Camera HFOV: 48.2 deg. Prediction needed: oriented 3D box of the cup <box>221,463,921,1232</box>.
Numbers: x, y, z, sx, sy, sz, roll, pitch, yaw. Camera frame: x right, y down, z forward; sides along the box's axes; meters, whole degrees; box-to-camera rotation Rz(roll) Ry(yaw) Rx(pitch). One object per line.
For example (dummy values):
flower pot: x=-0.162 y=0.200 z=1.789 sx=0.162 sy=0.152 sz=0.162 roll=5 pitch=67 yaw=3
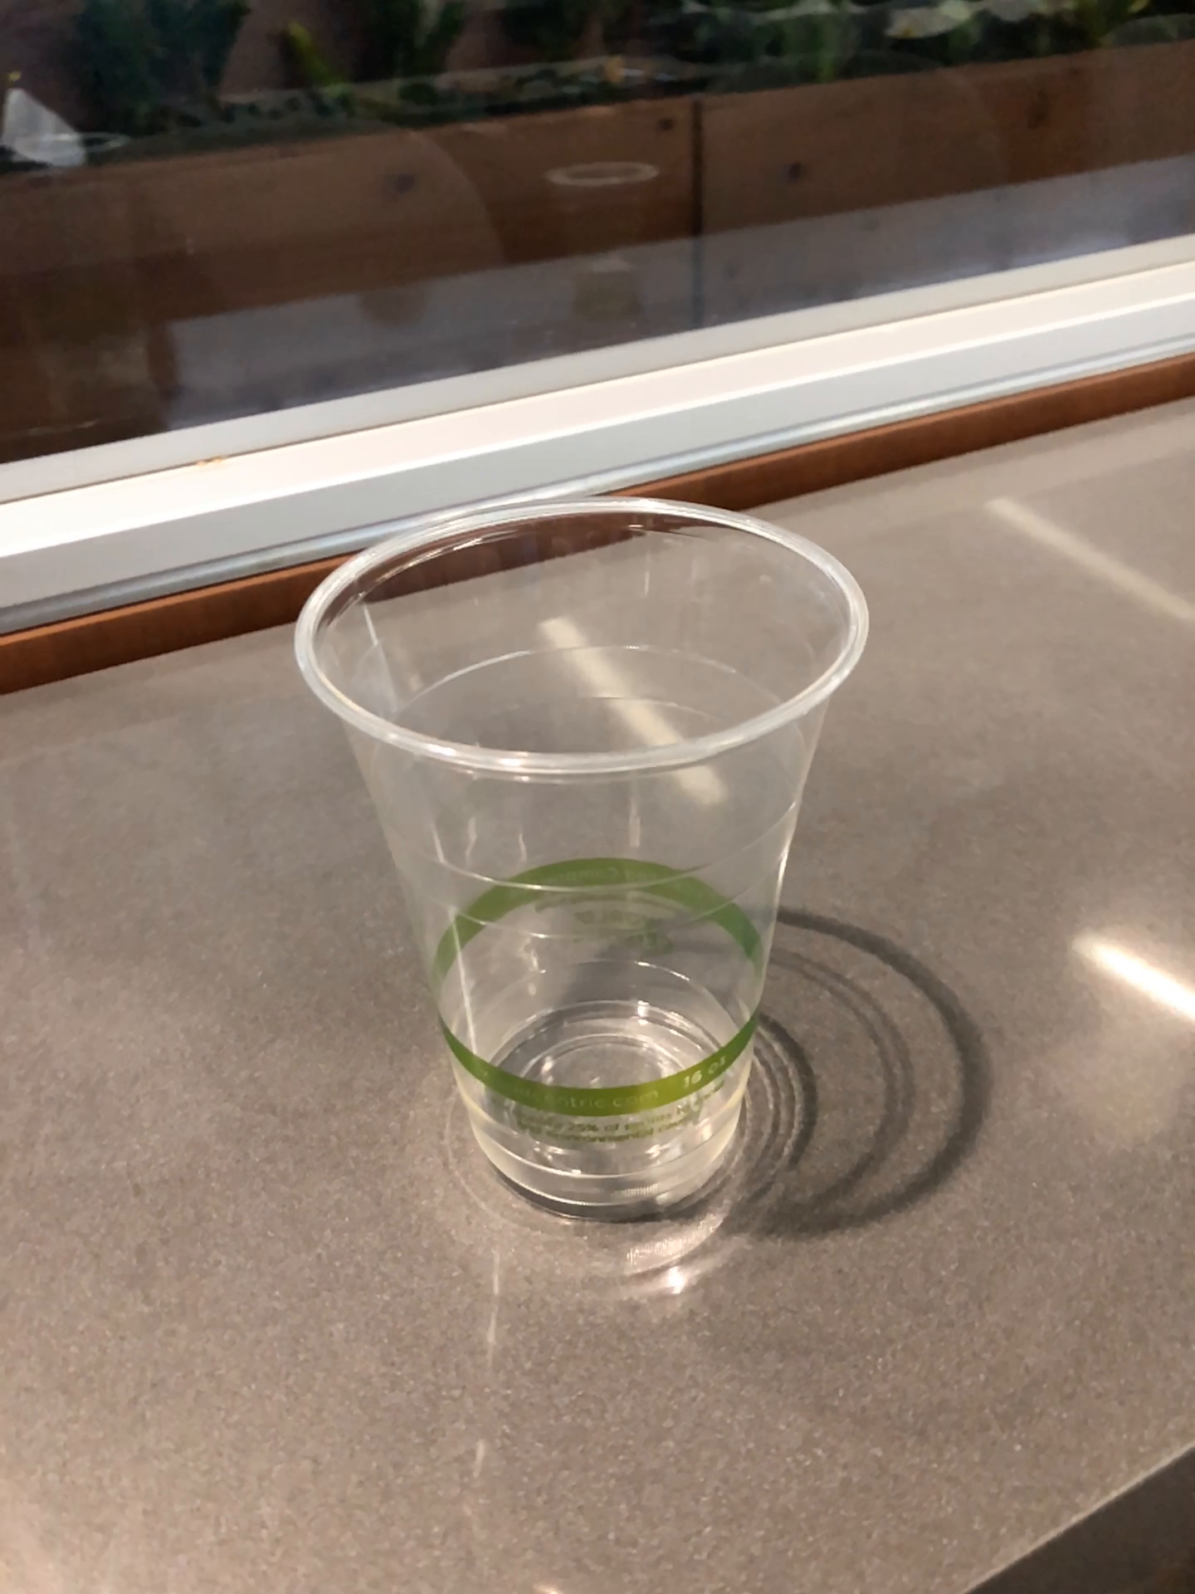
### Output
cup: x=0.001 y=0.007 z=0.262 sx=0.100 sy=0.109 sz=0.101 roll=-2 pitch=34 yaw=2
